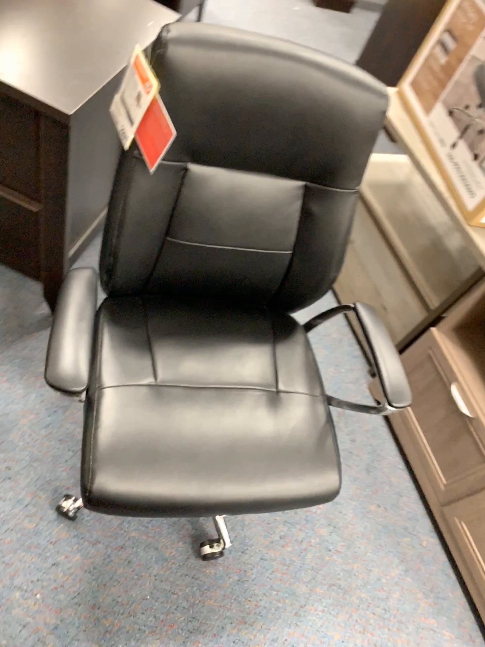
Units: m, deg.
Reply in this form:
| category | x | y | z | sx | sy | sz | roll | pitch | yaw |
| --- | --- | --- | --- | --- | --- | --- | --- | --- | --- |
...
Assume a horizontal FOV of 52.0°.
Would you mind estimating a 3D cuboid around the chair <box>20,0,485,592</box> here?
| category | x | y | z | sx | sy | sz | roll | pitch | yaw |
| --- | --- | --- | --- | --- | --- | --- | --- | --- | --- |
| chair | -0.036 | 0.065 | 1.043 | 0.665 | 0.996 | 0.719 | 4 | 56 | -18 |
